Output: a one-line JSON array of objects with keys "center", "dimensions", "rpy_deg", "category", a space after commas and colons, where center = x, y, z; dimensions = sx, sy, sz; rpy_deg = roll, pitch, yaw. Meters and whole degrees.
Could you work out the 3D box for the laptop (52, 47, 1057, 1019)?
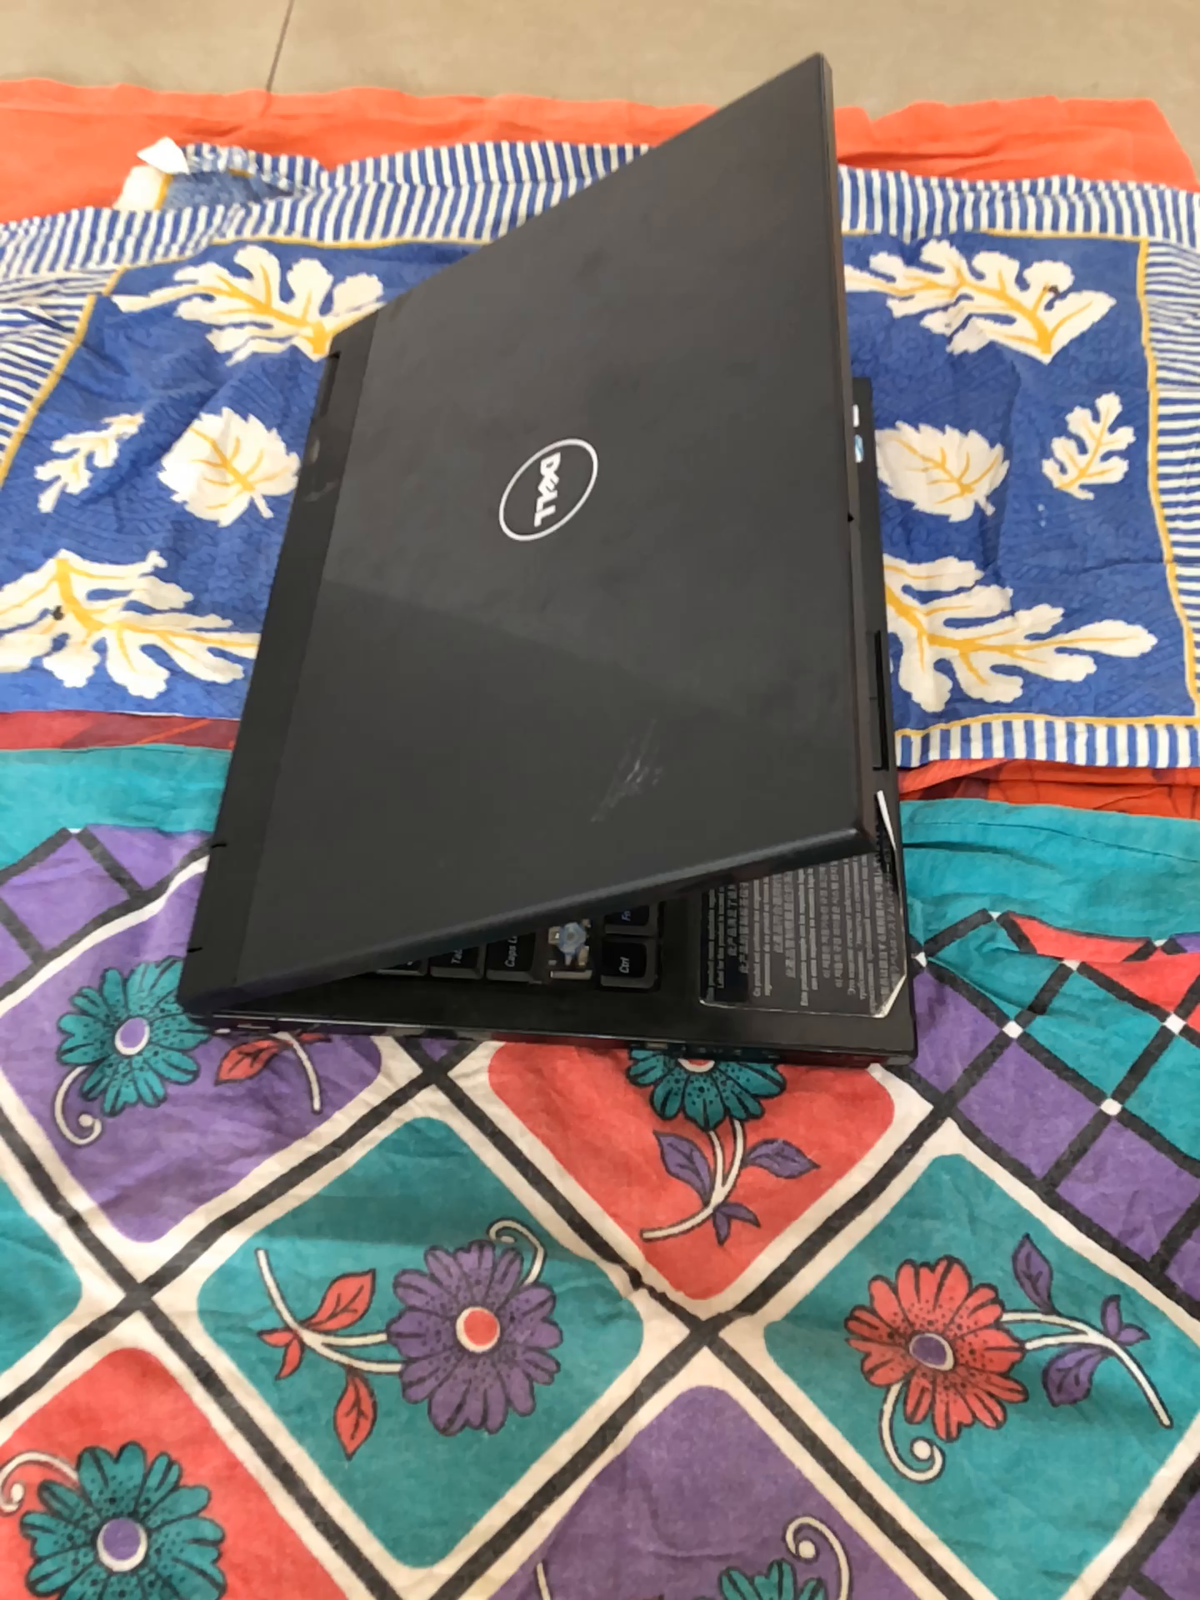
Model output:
[{"center": [-0.005, -0.095, 0.444], "dimensions": [0.234, 0.143, 0.300], "rpy_deg": [1, 59, 3], "category": "laptop"}]
